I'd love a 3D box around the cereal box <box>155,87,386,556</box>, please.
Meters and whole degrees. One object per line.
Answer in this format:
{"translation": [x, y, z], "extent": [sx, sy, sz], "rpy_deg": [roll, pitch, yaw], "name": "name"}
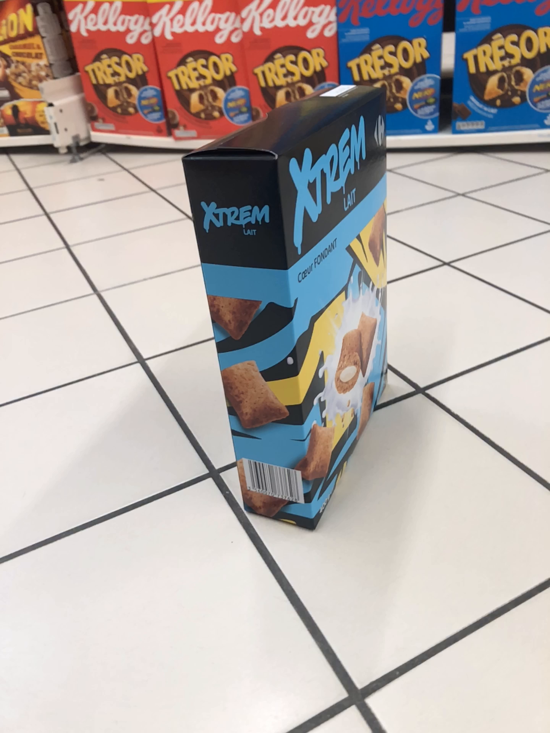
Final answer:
{"translation": [0.021, -0.039, 0.427], "extent": [0.060, 0.258, 0.201], "rpy_deg": [9, 35, 23], "name": "cereal box"}
